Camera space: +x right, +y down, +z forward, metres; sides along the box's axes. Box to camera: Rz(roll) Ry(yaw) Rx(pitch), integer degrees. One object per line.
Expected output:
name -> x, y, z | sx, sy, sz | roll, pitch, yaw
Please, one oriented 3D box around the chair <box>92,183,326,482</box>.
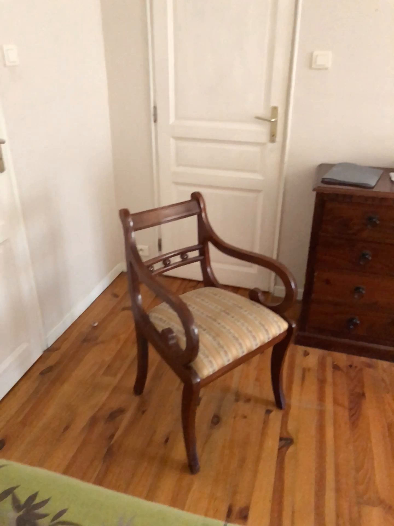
chair -> 0.029, 0.204, 1.666 | 0.583, 0.825, 0.570 | -19, 32, -35
